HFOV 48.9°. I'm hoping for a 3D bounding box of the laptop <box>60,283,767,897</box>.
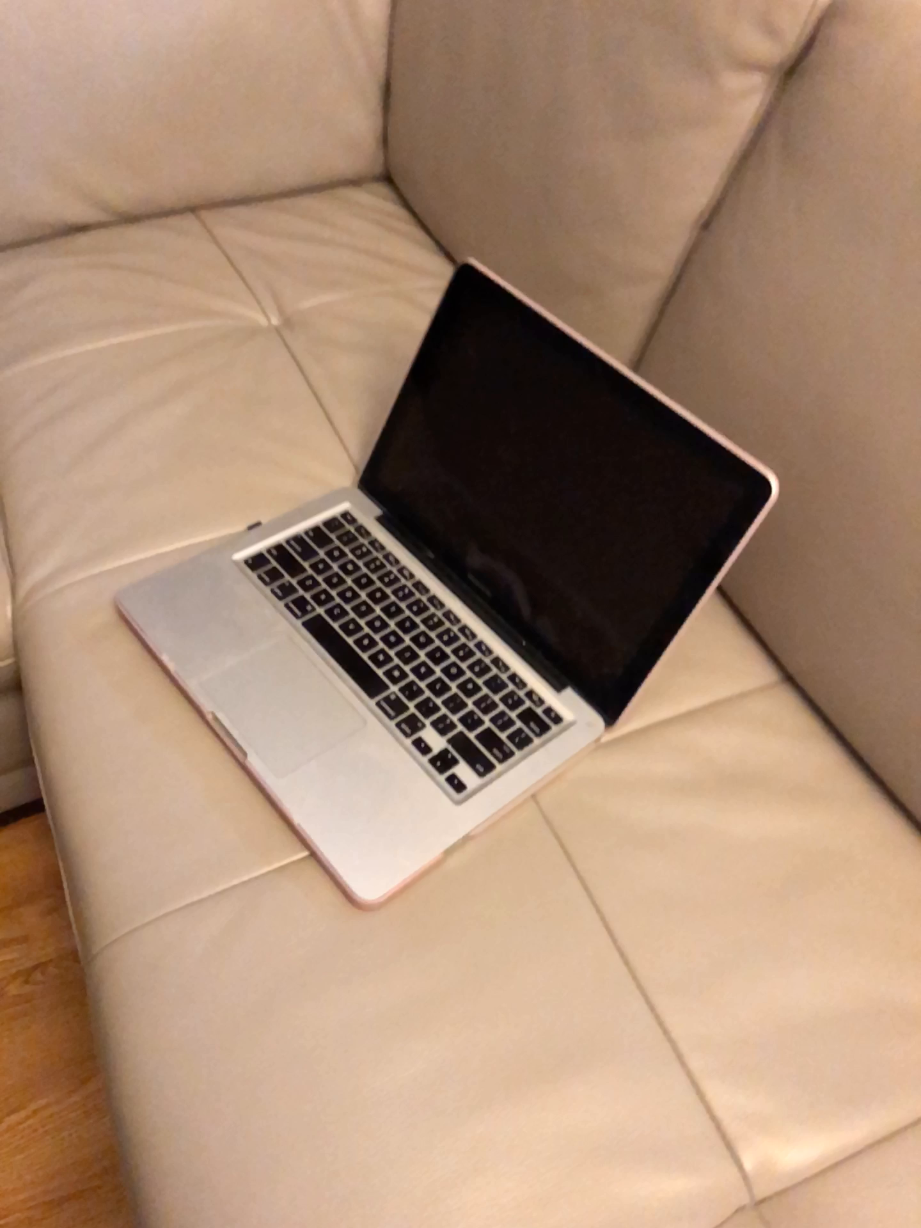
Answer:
[{"bbox_3d":[-0.031,-0.041,0.711,0.323,0.167,0.309,-31,58,-27],"label":"laptop"}]
